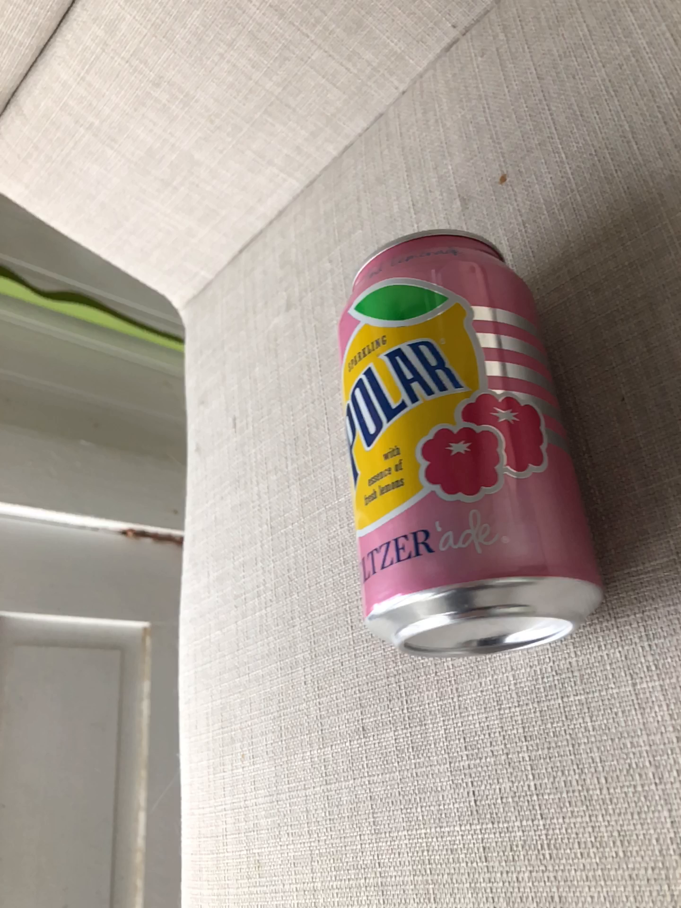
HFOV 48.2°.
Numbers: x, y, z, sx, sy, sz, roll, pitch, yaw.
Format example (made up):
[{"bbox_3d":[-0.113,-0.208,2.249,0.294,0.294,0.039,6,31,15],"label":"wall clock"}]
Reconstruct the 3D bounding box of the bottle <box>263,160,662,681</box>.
[{"bbox_3d":[0.028,-0.005,0.223,0.070,0.065,0.123,-30,55,38],"label":"bottle"}]
